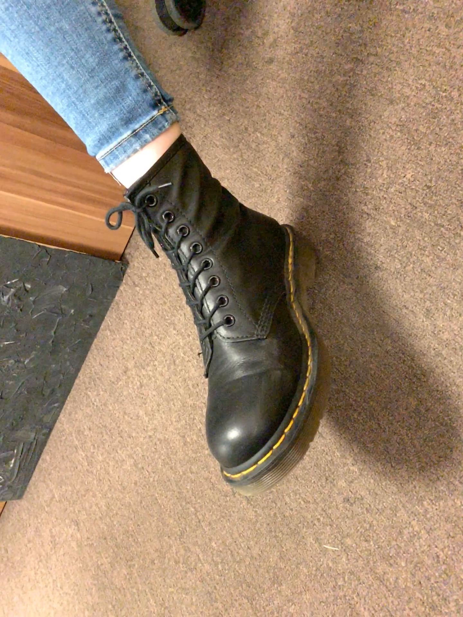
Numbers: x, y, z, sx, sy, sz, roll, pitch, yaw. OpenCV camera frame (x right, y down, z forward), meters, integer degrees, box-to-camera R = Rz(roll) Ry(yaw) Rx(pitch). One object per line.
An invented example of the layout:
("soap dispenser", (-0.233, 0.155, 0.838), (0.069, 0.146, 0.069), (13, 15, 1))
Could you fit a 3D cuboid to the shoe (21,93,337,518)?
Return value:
("shoe", (-0.014, -0.016, 0.382), (0.121, 0.149, 0.290), (-33, 32, 37))
